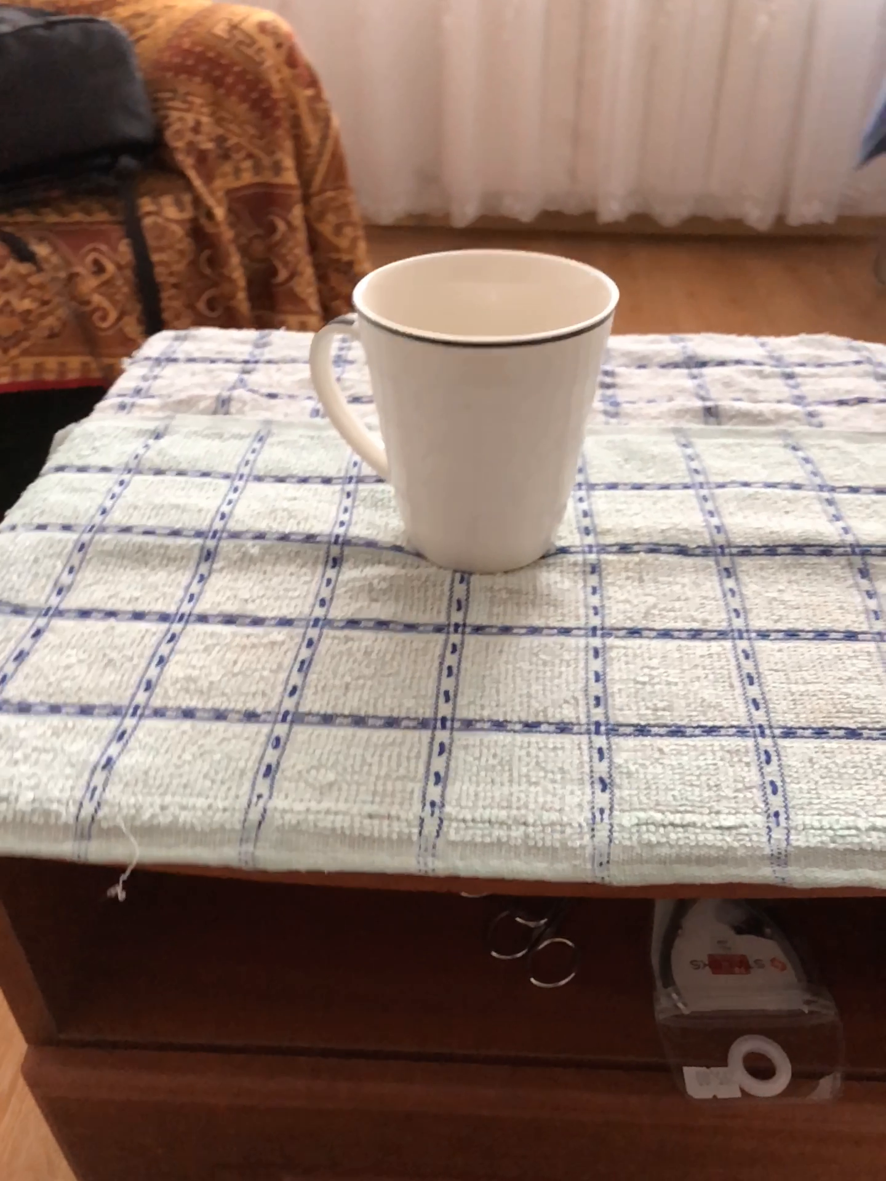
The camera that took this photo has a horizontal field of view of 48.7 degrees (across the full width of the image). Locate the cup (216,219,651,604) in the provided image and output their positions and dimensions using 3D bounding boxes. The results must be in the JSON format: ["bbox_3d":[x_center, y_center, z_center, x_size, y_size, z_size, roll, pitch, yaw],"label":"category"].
[{"bbox_3d":[-0.002,-0.073,0.369,0.123,0.090,0.091,19,40,25],"label":"cup"}]
